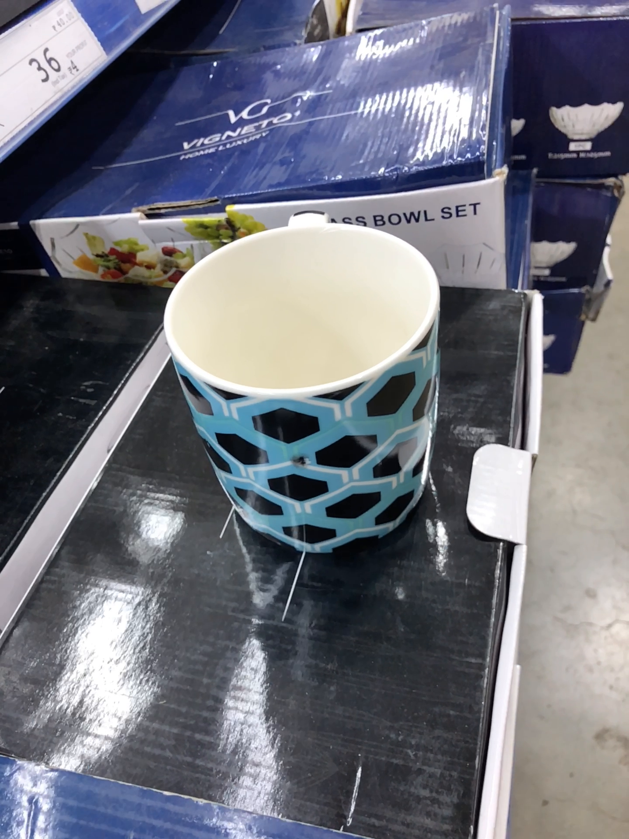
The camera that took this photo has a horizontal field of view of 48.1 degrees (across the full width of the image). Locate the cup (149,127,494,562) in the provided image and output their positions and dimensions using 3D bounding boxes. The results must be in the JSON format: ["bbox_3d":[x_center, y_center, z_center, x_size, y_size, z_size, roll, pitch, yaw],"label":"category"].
[{"bbox_3d":[0.008,-0.030,0.260,0.090,0.090,0.131,-4,46,6],"label":"cup"}]
